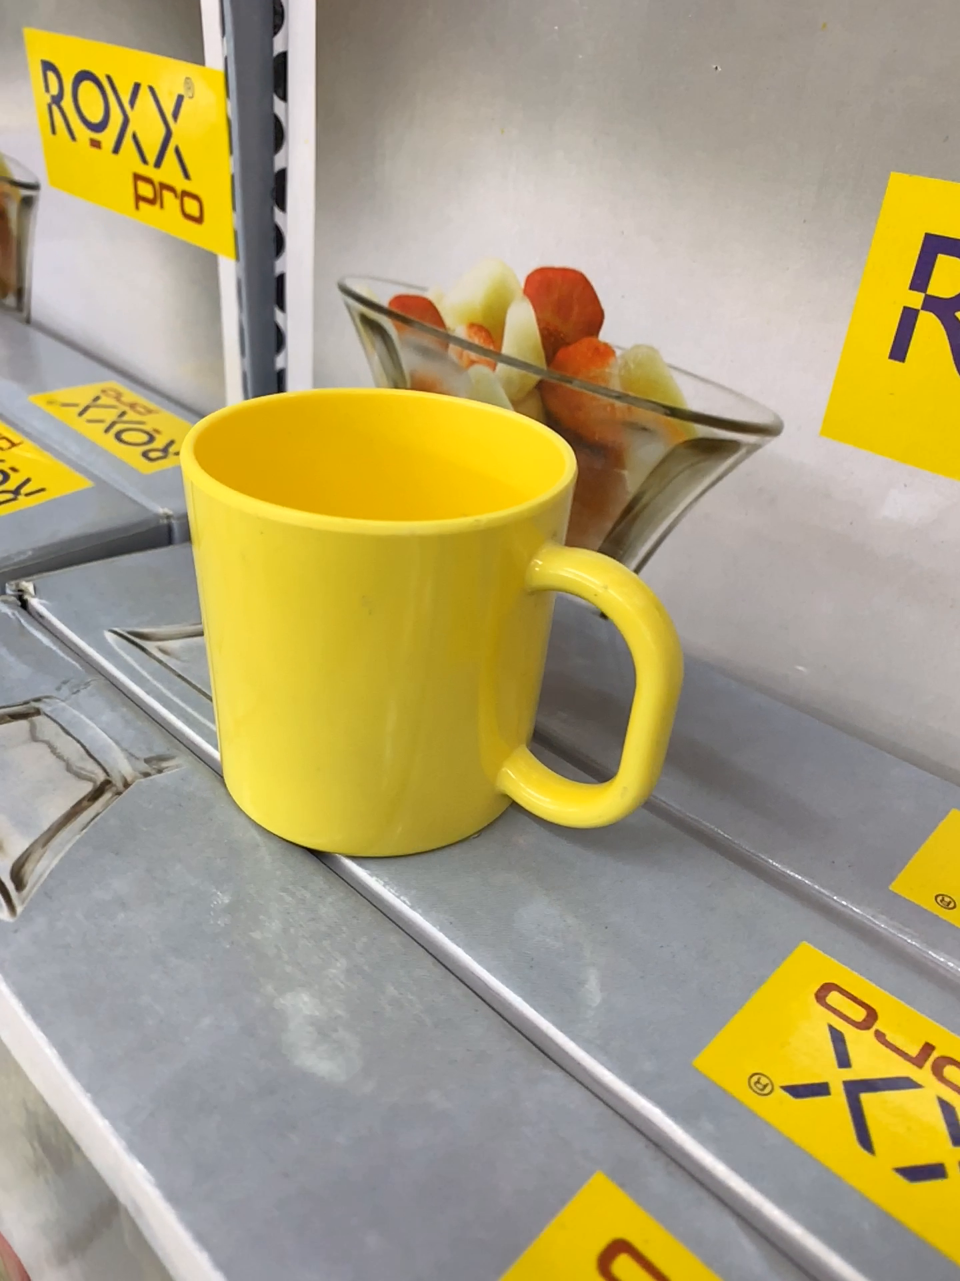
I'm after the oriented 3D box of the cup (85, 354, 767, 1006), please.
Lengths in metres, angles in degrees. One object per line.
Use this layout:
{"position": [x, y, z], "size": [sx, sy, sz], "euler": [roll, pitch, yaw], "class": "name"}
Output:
{"position": [-0.013, -0.003, 0.193], "size": [0.096, 0.069, 0.072], "euler": [28, 37, 32], "class": "cup"}
